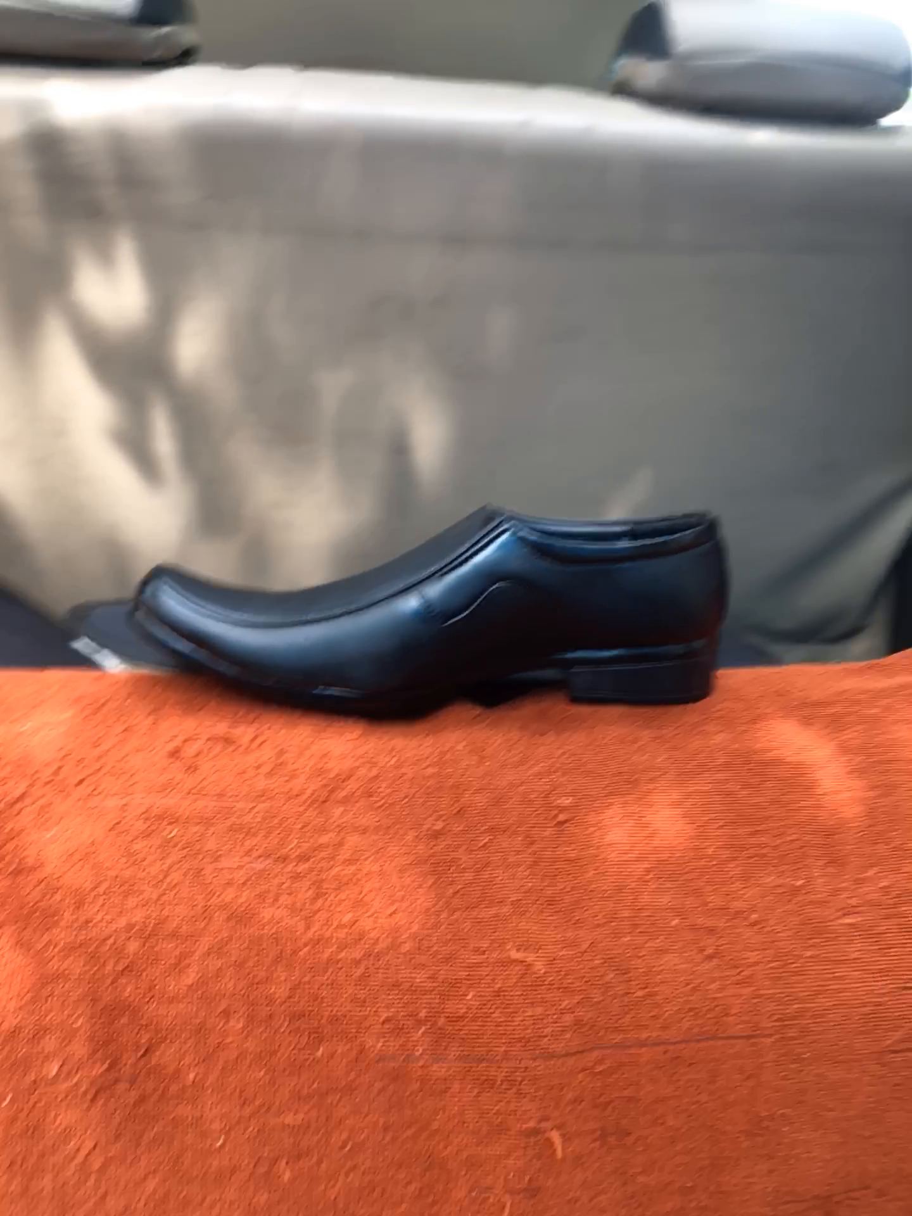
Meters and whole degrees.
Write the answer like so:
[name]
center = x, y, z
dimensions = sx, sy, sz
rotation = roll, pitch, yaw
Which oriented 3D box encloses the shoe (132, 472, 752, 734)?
[shoe]
center = -0.006, -0.012, 0.560
dimensions = 0.290, 0.100, 0.160
rotation = 3, 12, 2
